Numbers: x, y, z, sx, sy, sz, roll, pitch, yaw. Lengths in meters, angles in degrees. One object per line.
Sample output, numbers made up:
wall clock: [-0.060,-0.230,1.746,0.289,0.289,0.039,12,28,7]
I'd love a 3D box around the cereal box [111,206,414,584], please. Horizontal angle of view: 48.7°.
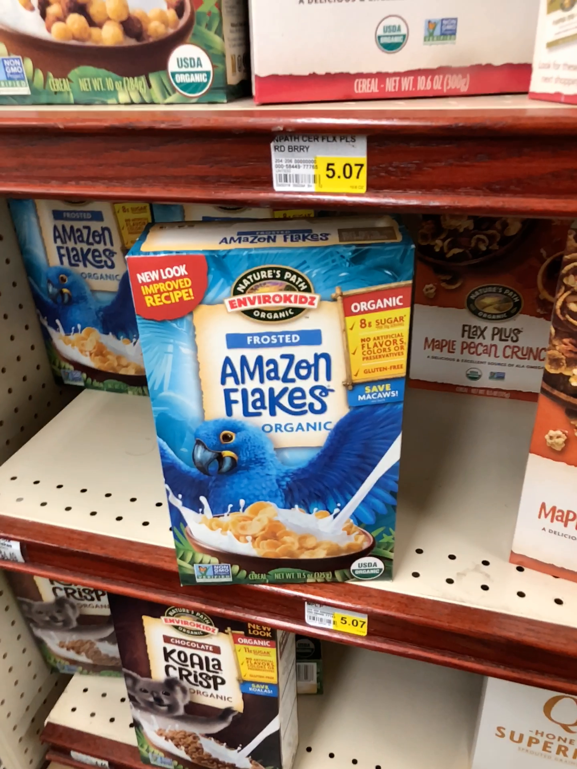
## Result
cereal box: [-0.007,0.021,0.430,0.160,0.259,0.060,-2,33,2]
